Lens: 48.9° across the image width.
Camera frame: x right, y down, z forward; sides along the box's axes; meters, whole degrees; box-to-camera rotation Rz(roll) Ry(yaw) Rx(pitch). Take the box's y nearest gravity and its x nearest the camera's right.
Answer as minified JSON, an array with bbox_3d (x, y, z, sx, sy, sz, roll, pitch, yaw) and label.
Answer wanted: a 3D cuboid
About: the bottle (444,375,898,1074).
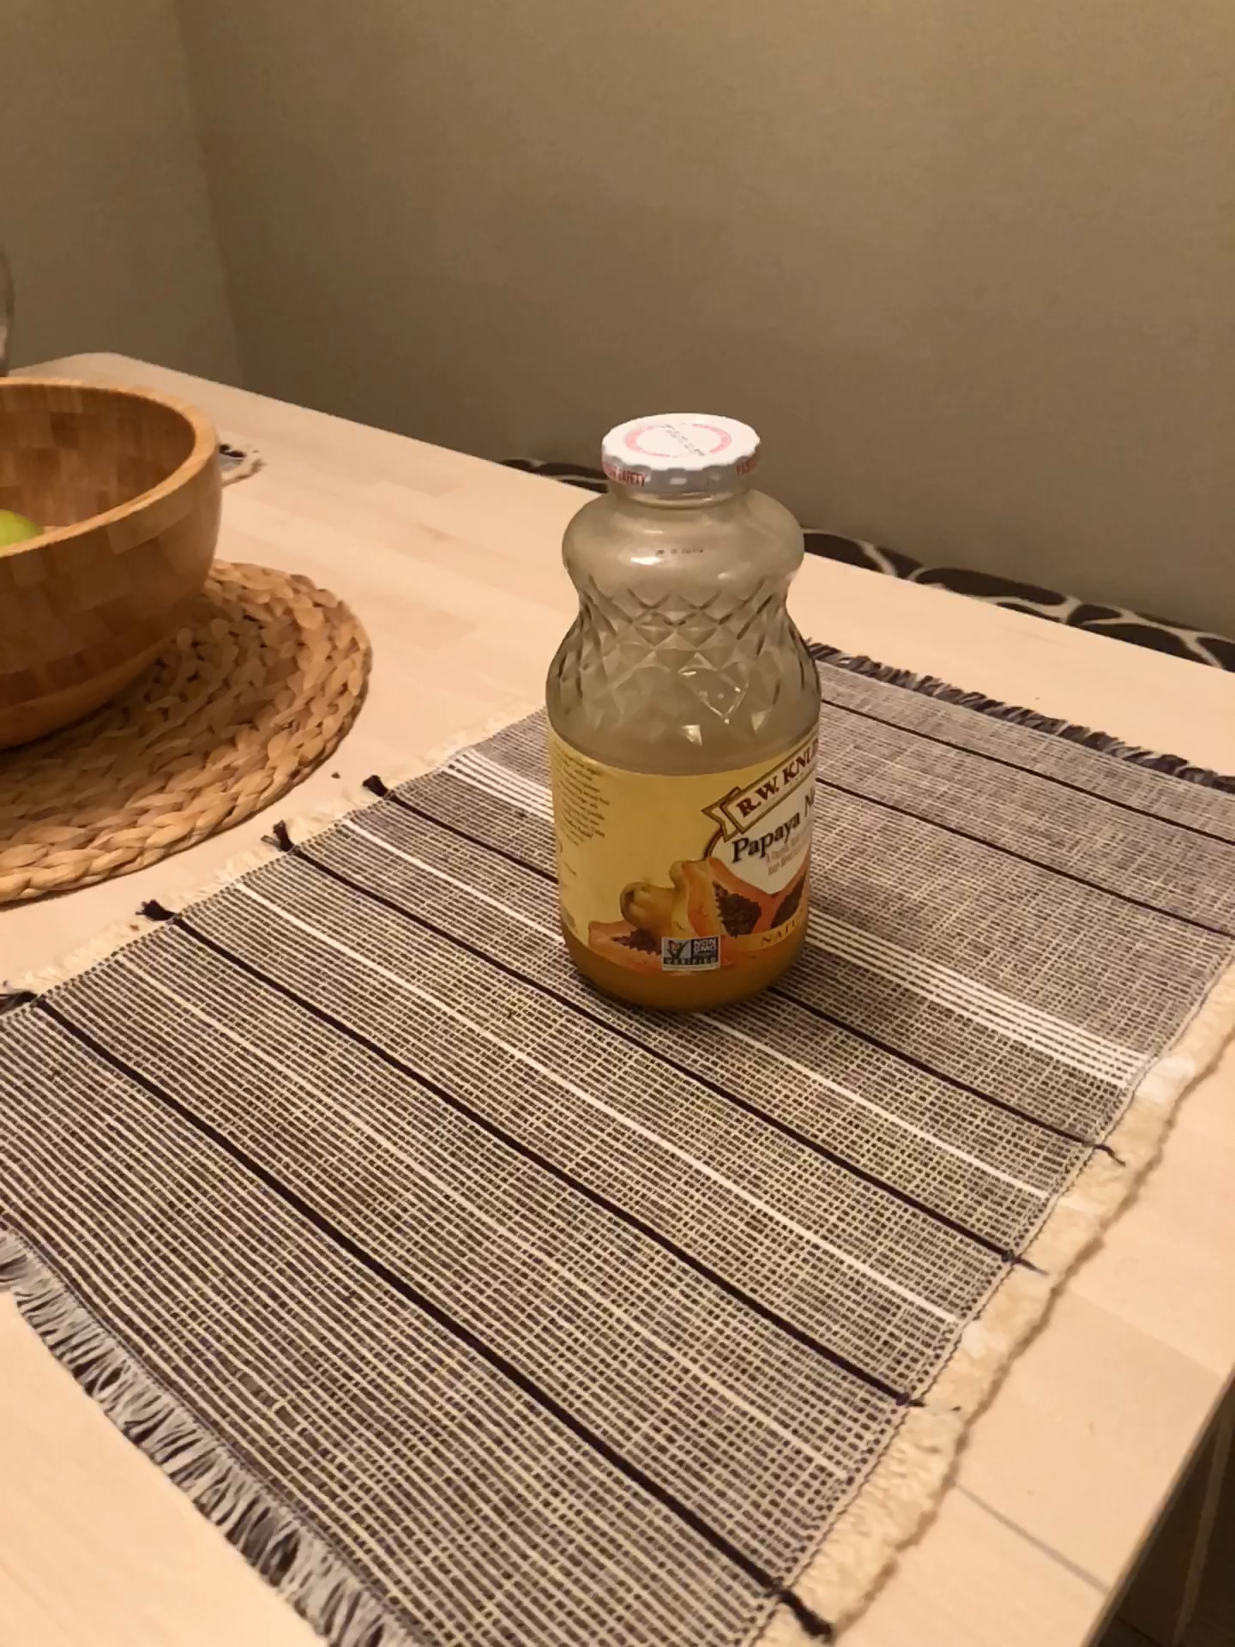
[{"bbox_3d":[0.020,-0.036,0.473,0.100,0.199,0.100,-1,33,1],"label":"bottle"}]
